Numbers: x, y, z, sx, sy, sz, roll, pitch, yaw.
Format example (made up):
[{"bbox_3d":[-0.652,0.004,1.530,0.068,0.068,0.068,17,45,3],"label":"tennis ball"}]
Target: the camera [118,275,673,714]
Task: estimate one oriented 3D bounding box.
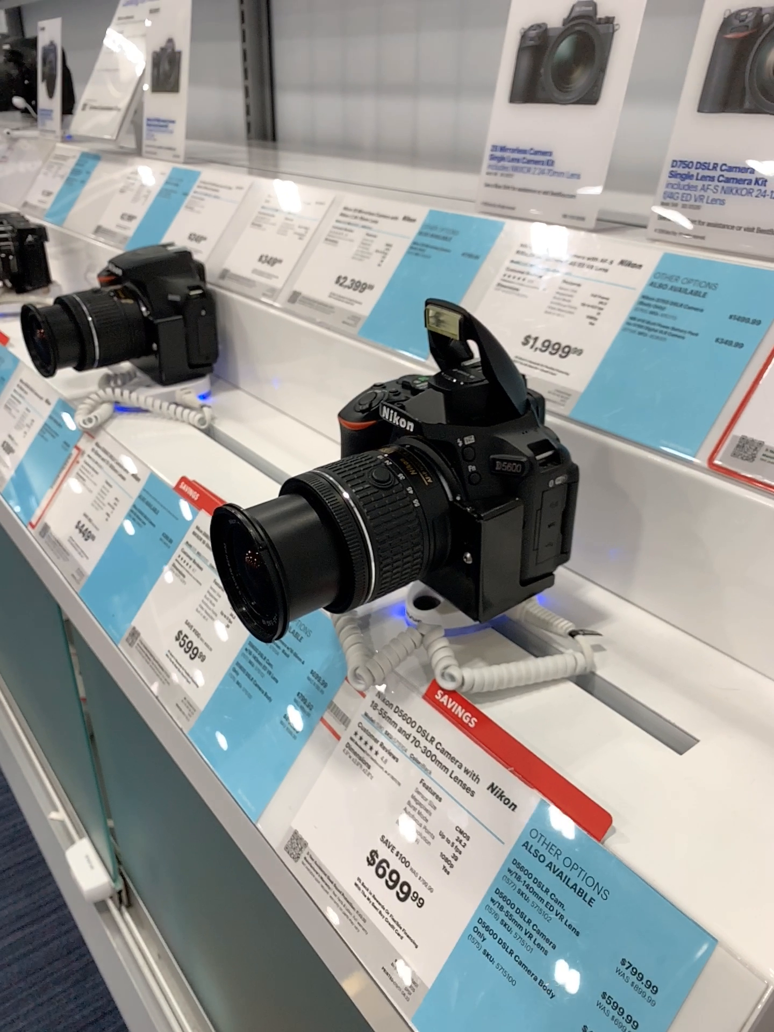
[{"bbox_3d":[0.006,-0.031,0.364,0.190,0.109,0.140,-21,35,-37],"label":"camera"}]
